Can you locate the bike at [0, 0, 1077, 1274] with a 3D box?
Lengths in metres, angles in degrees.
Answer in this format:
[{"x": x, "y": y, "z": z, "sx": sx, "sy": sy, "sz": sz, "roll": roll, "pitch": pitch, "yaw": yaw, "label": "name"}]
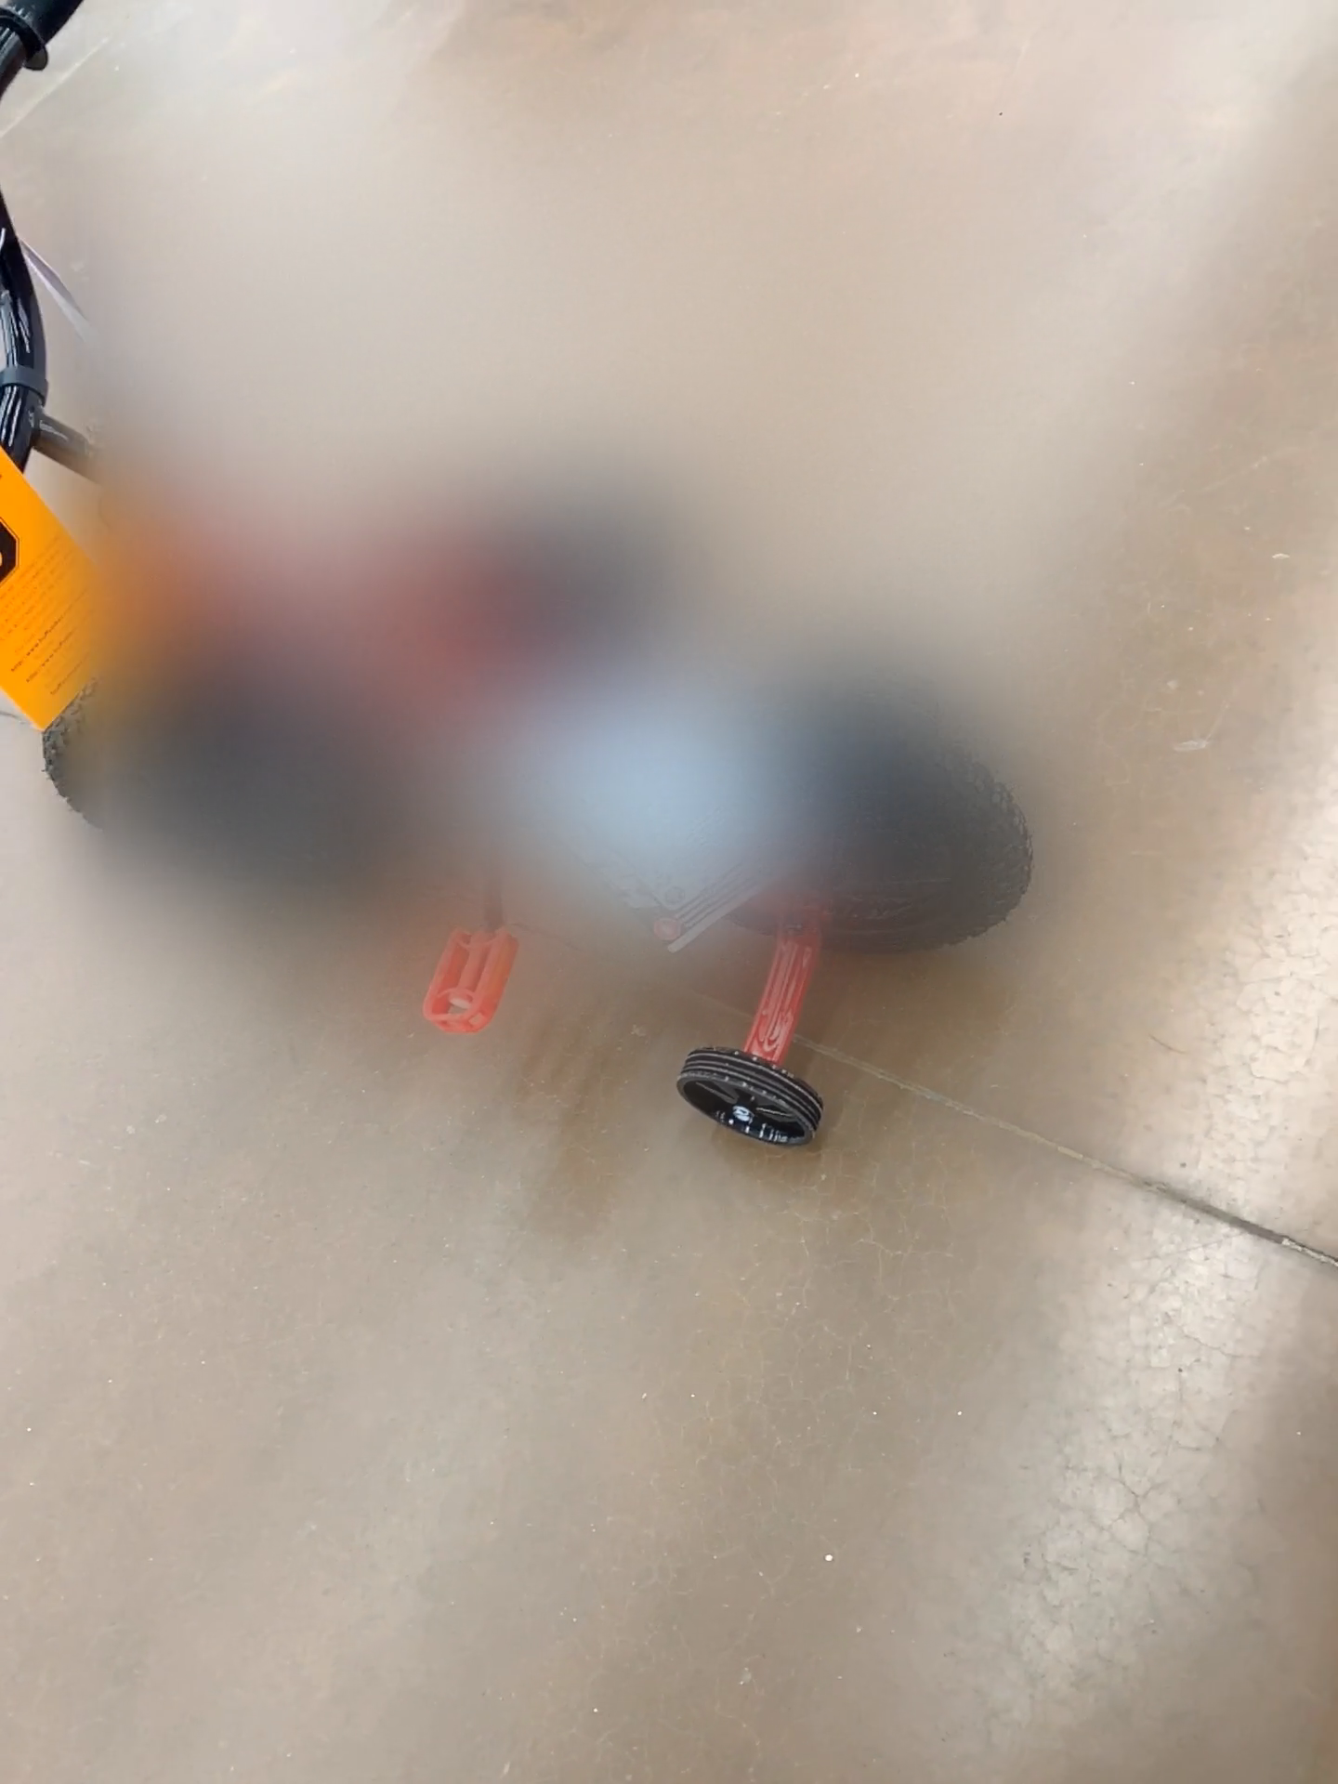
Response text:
[{"x": -0.179, "y": -0.157, "z": 0.779, "sx": 0.736, "sy": 0.605, "sz": 0.440, "roll": 7, "pitch": 60, "yaw": 17, "label": "bike"}]
